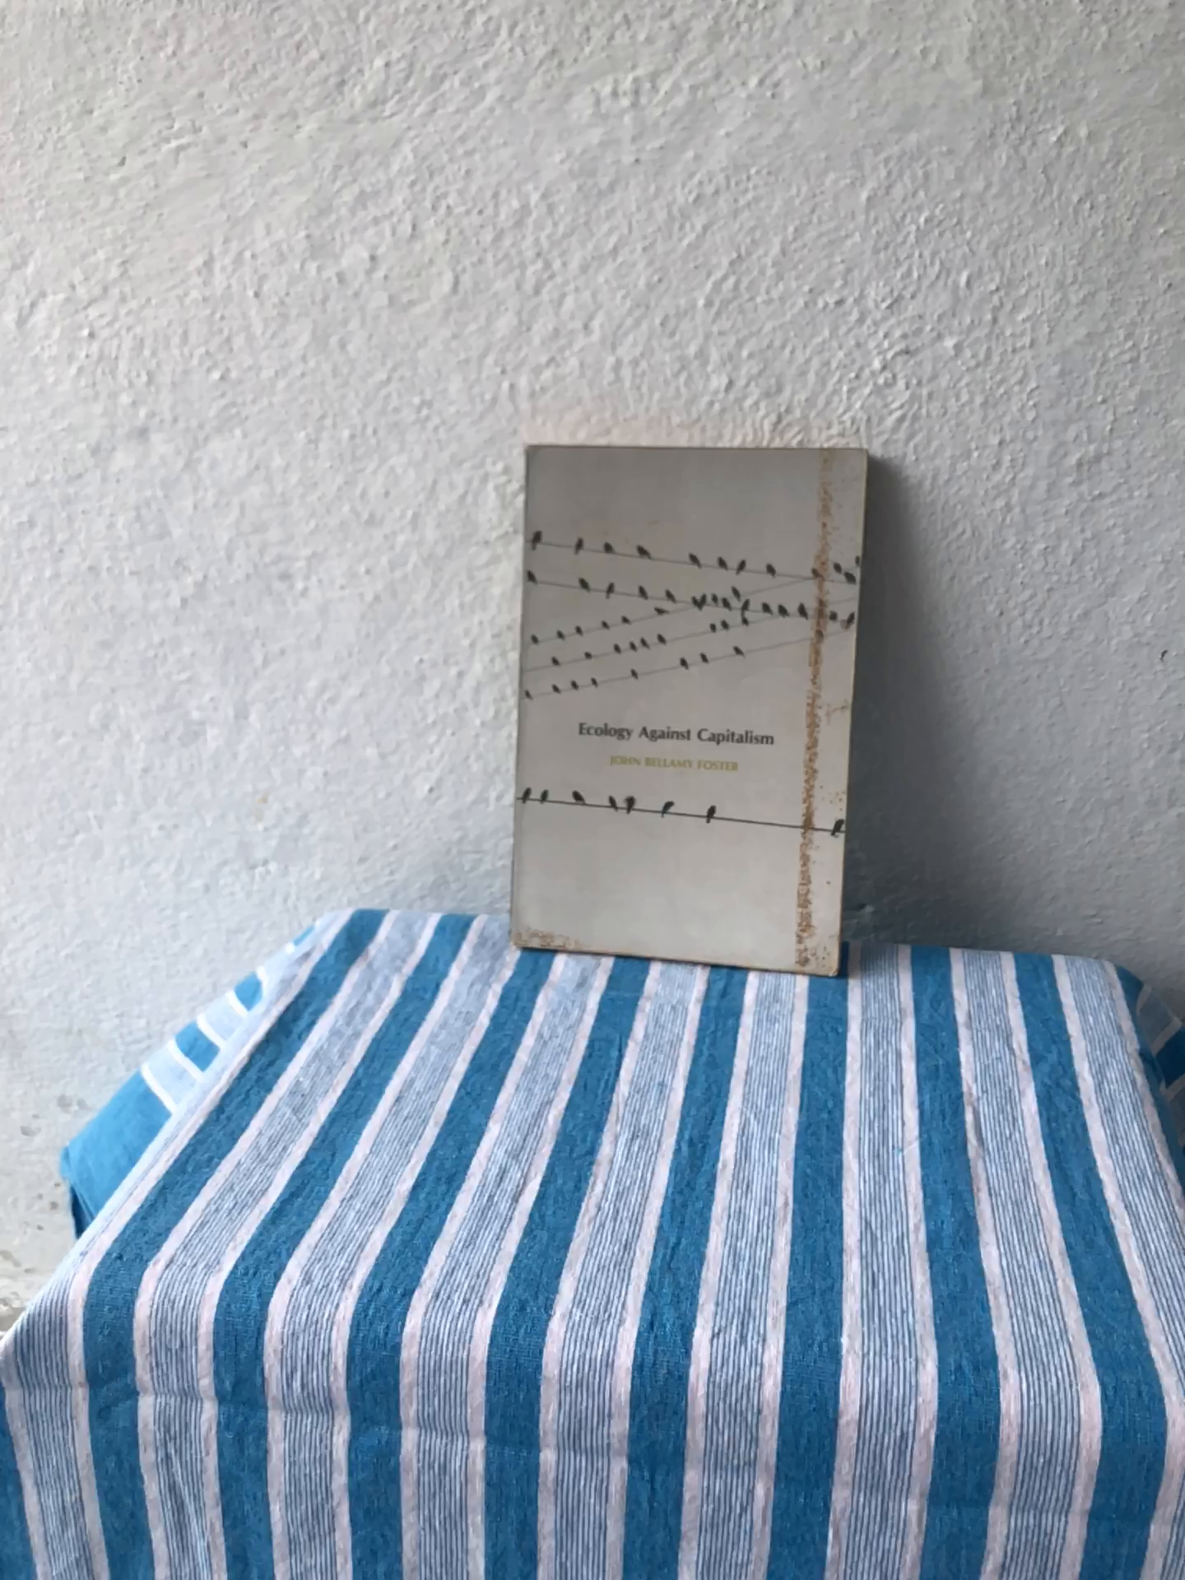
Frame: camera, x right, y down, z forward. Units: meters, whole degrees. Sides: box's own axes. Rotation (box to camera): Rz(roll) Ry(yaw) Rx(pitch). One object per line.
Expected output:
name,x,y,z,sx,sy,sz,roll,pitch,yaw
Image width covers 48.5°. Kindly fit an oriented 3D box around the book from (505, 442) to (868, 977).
book,0.038,-0.035,0.548,0.140,0.210,0.030,3,1,15
